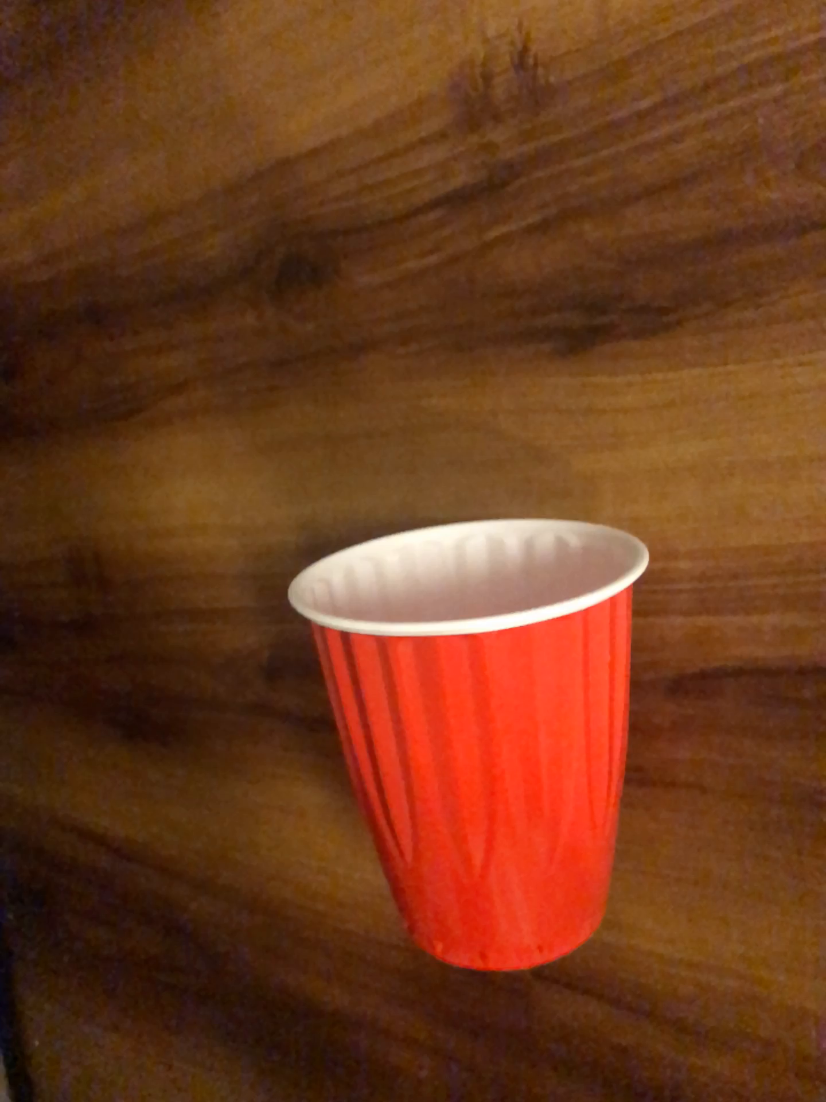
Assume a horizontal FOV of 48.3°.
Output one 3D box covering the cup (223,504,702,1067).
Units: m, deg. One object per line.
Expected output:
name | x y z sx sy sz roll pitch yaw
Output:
cup | 0.020 0.054 0.272 0.100 0.089 0.115 6 109 37
